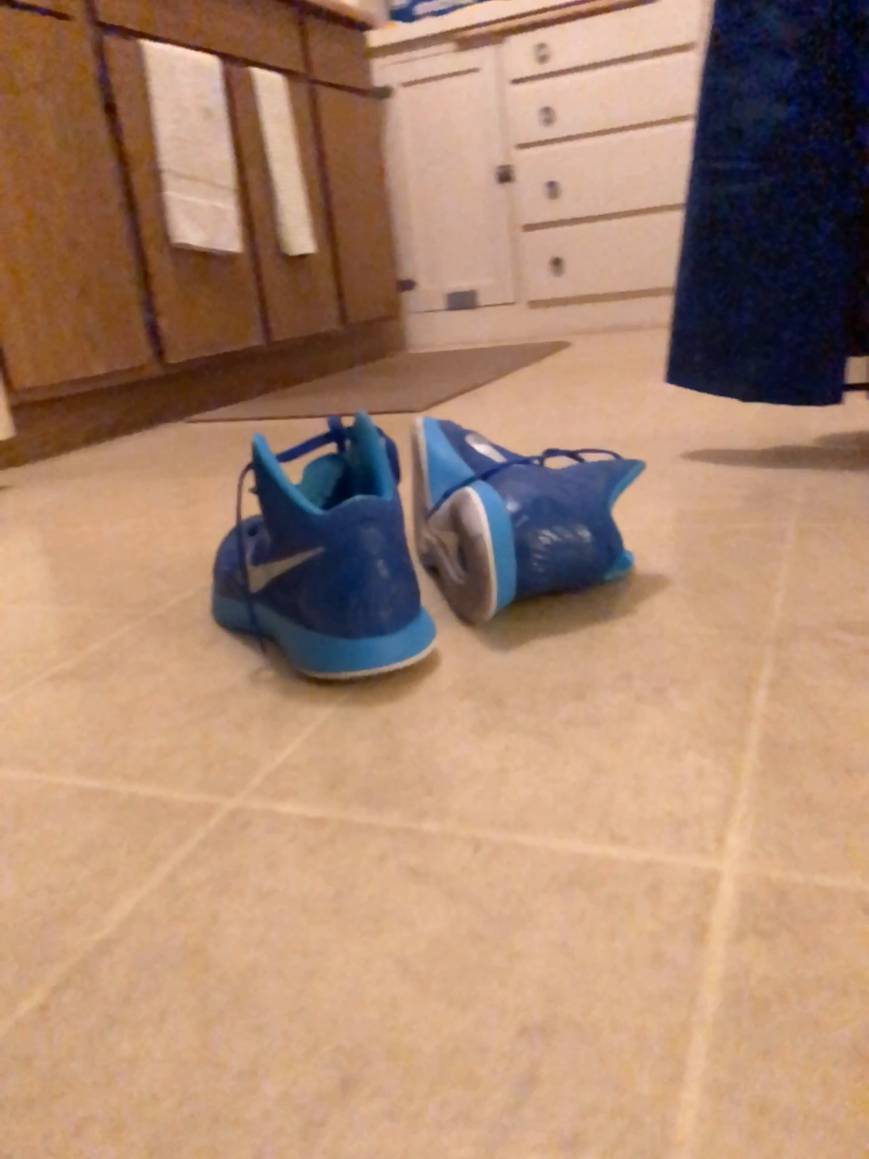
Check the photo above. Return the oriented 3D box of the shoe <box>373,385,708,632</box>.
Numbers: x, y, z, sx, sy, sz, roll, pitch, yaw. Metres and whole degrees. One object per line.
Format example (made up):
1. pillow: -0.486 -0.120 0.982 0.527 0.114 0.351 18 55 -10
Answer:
1. shoe: 0.061 -0.072 0.724 0.159 0.120 0.282 -6 17 -13

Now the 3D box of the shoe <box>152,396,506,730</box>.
1. shoe: -0.089 -0.035 0.657 0.120 0.144 0.311 -15 20 -24
